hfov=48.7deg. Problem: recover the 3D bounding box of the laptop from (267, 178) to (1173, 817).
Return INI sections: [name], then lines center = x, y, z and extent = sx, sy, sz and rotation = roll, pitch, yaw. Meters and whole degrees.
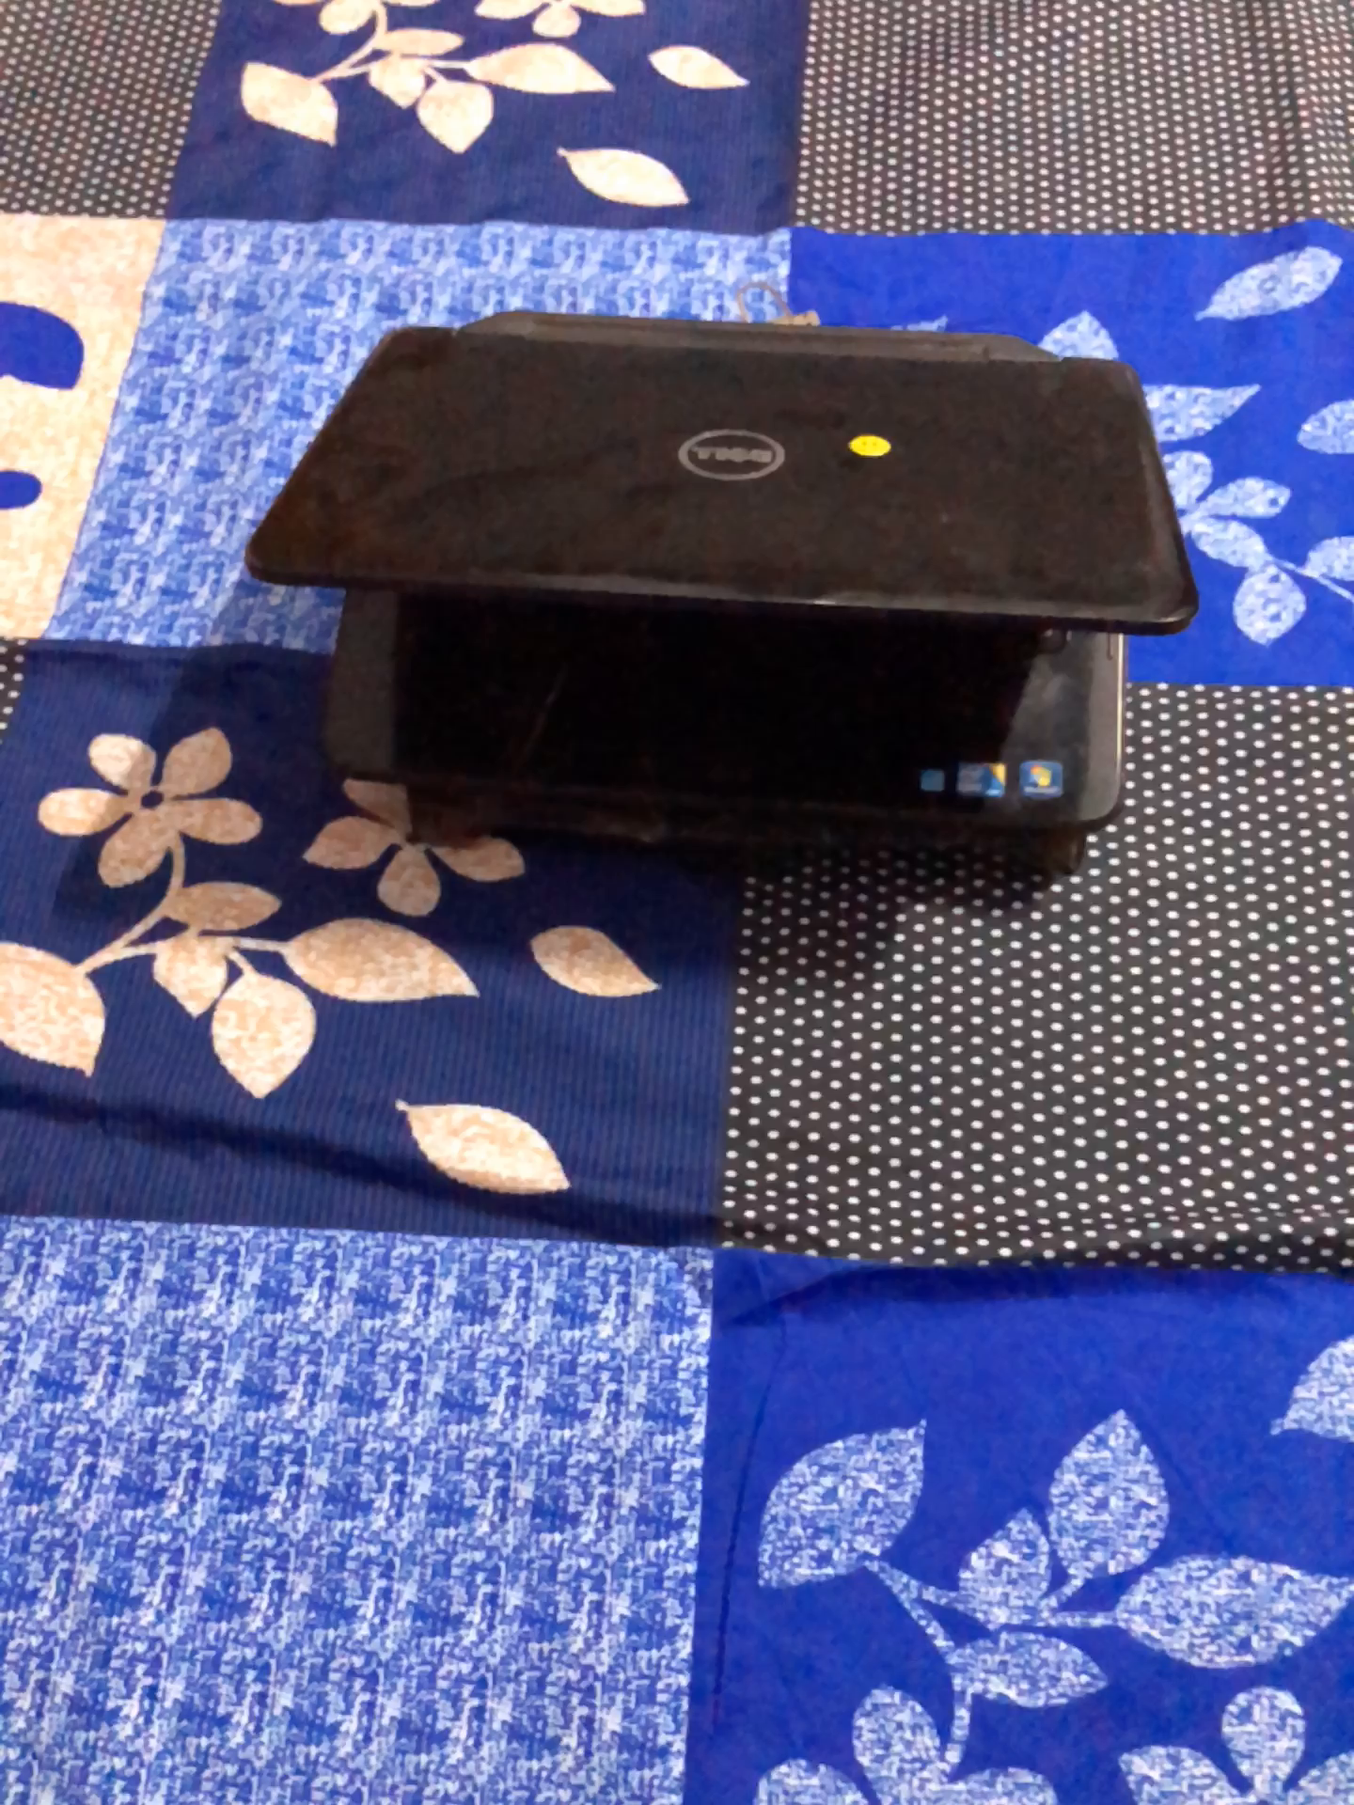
[laptop]
center = 0.027, -0.183, 0.672
extent = 0.362, 0.092, 0.236
rotation = 5, 72, 4
